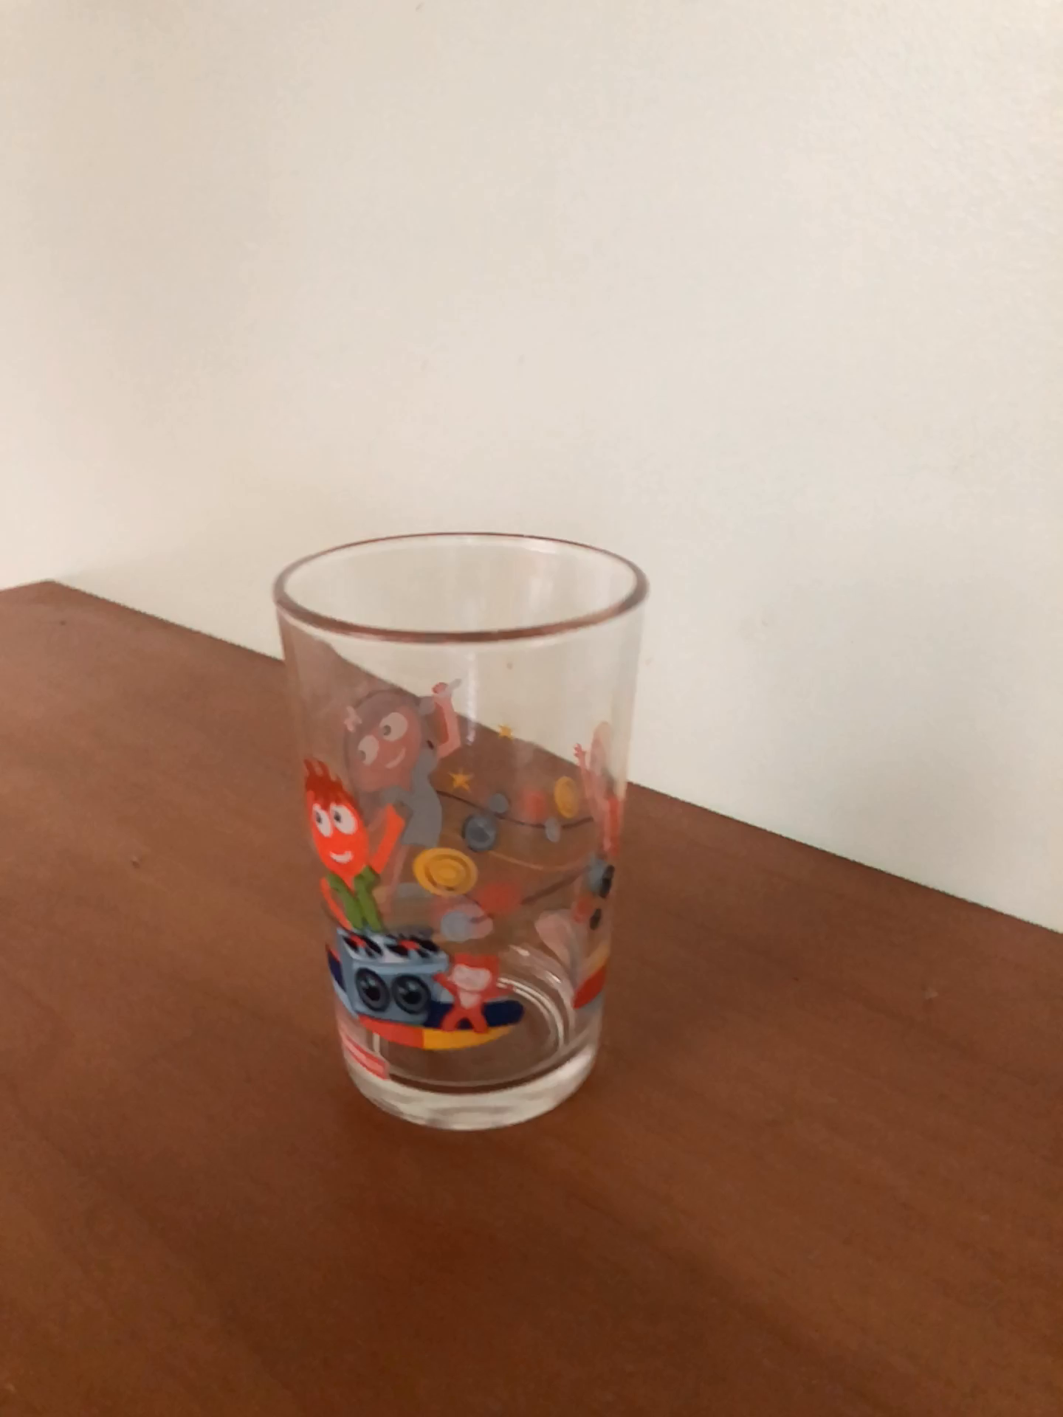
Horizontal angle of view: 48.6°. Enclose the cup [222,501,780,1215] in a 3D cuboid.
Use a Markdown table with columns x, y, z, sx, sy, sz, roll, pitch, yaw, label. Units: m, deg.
| x | y | z | sx | sy | sz | roll | pitch | yaw | label |
| --- | --- | --- | --- | --- | --- | --- | --- | --- | --- |
| -0.003 | 0.020 | 0.225 | 0.070 | 0.100 | 0.070 | 0 | 21 | 0 | cup |
